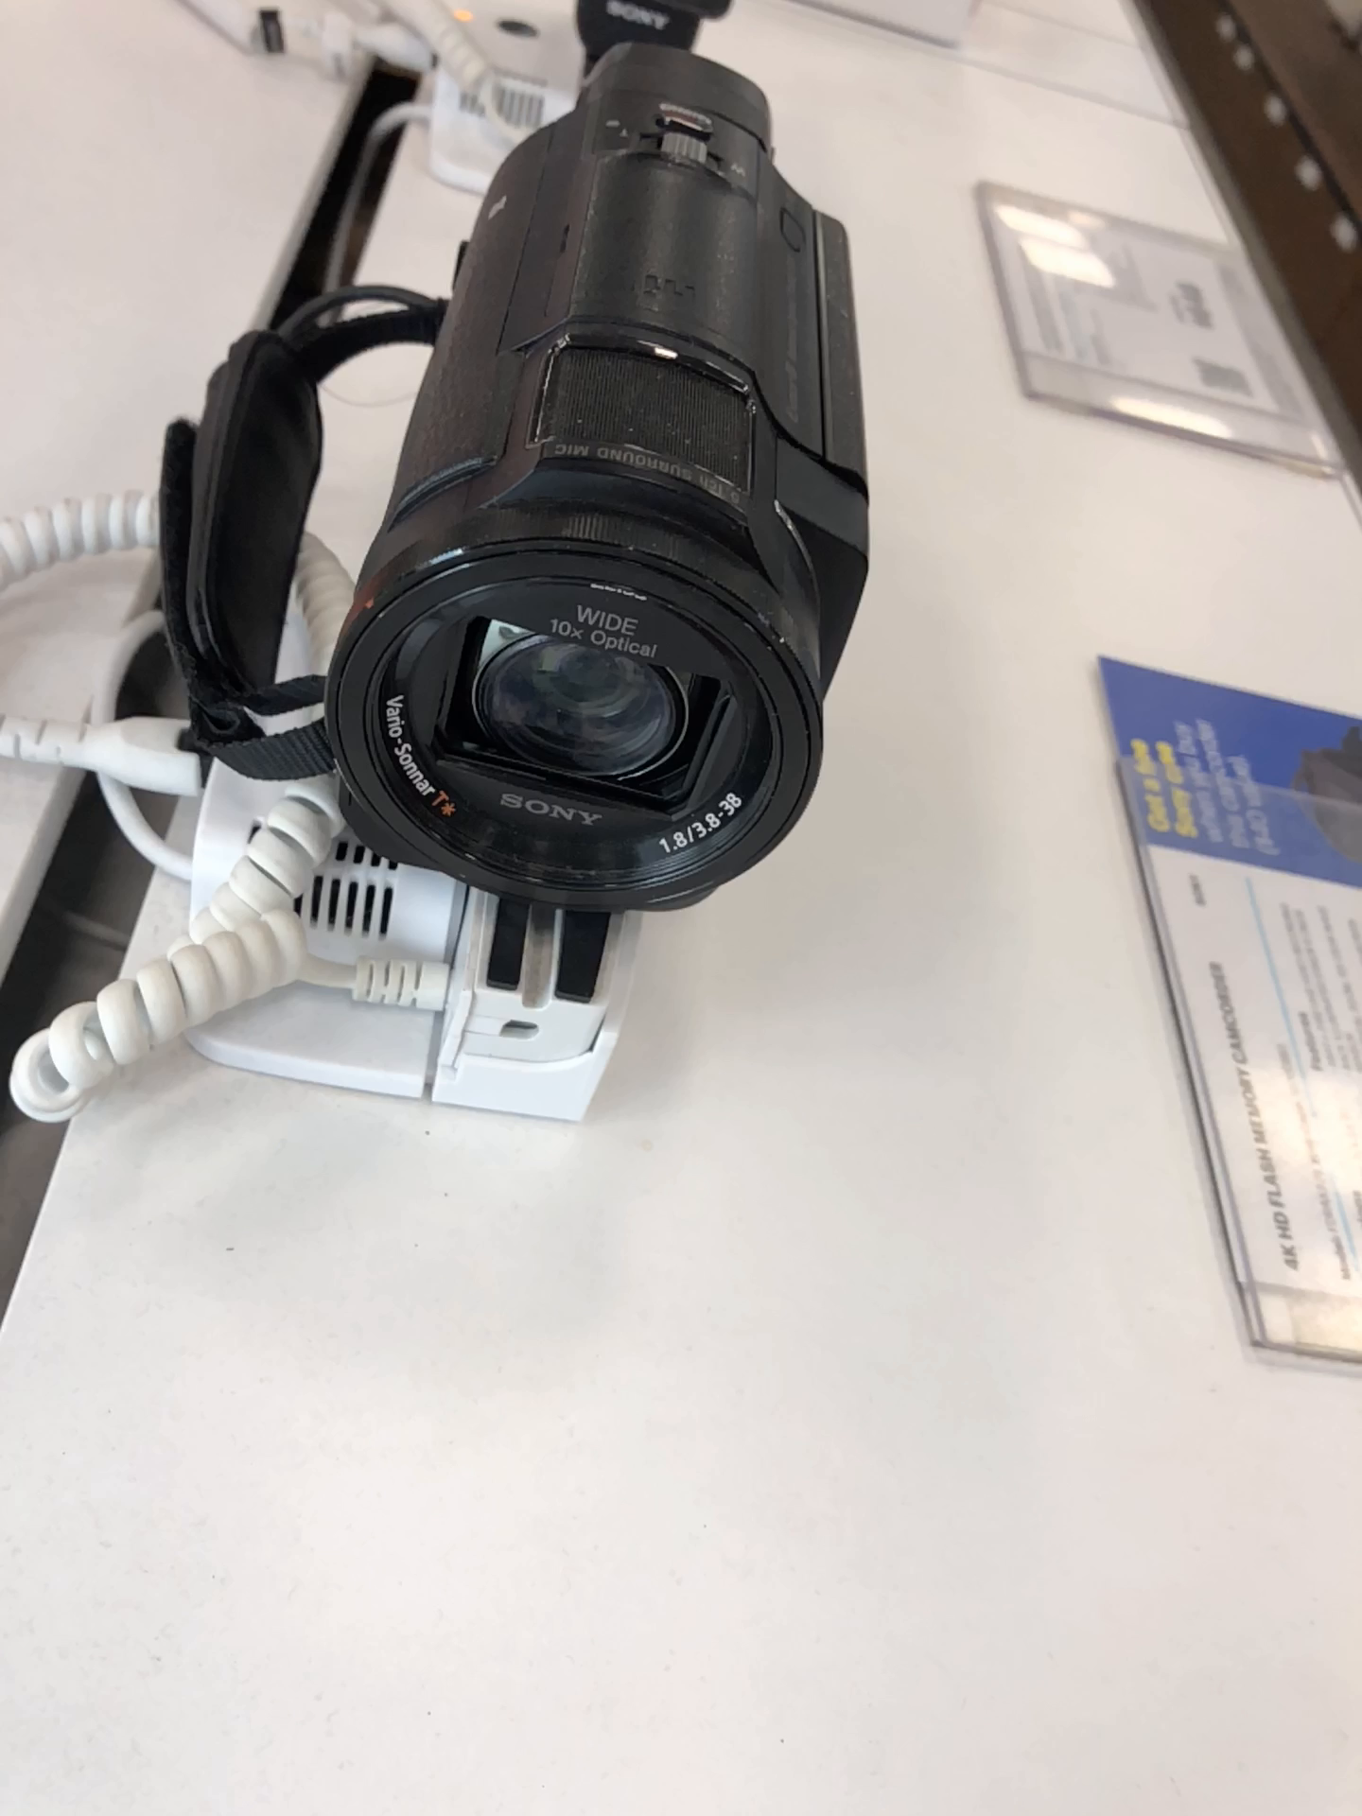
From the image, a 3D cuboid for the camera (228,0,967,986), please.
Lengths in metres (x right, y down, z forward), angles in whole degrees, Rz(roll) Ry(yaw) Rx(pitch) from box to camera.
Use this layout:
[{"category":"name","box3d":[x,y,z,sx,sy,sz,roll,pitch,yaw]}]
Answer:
[{"category":"camera","box3d":[-0.013,-0.075,0.243,0.080,0.070,0.150,11,48,-10]}]
